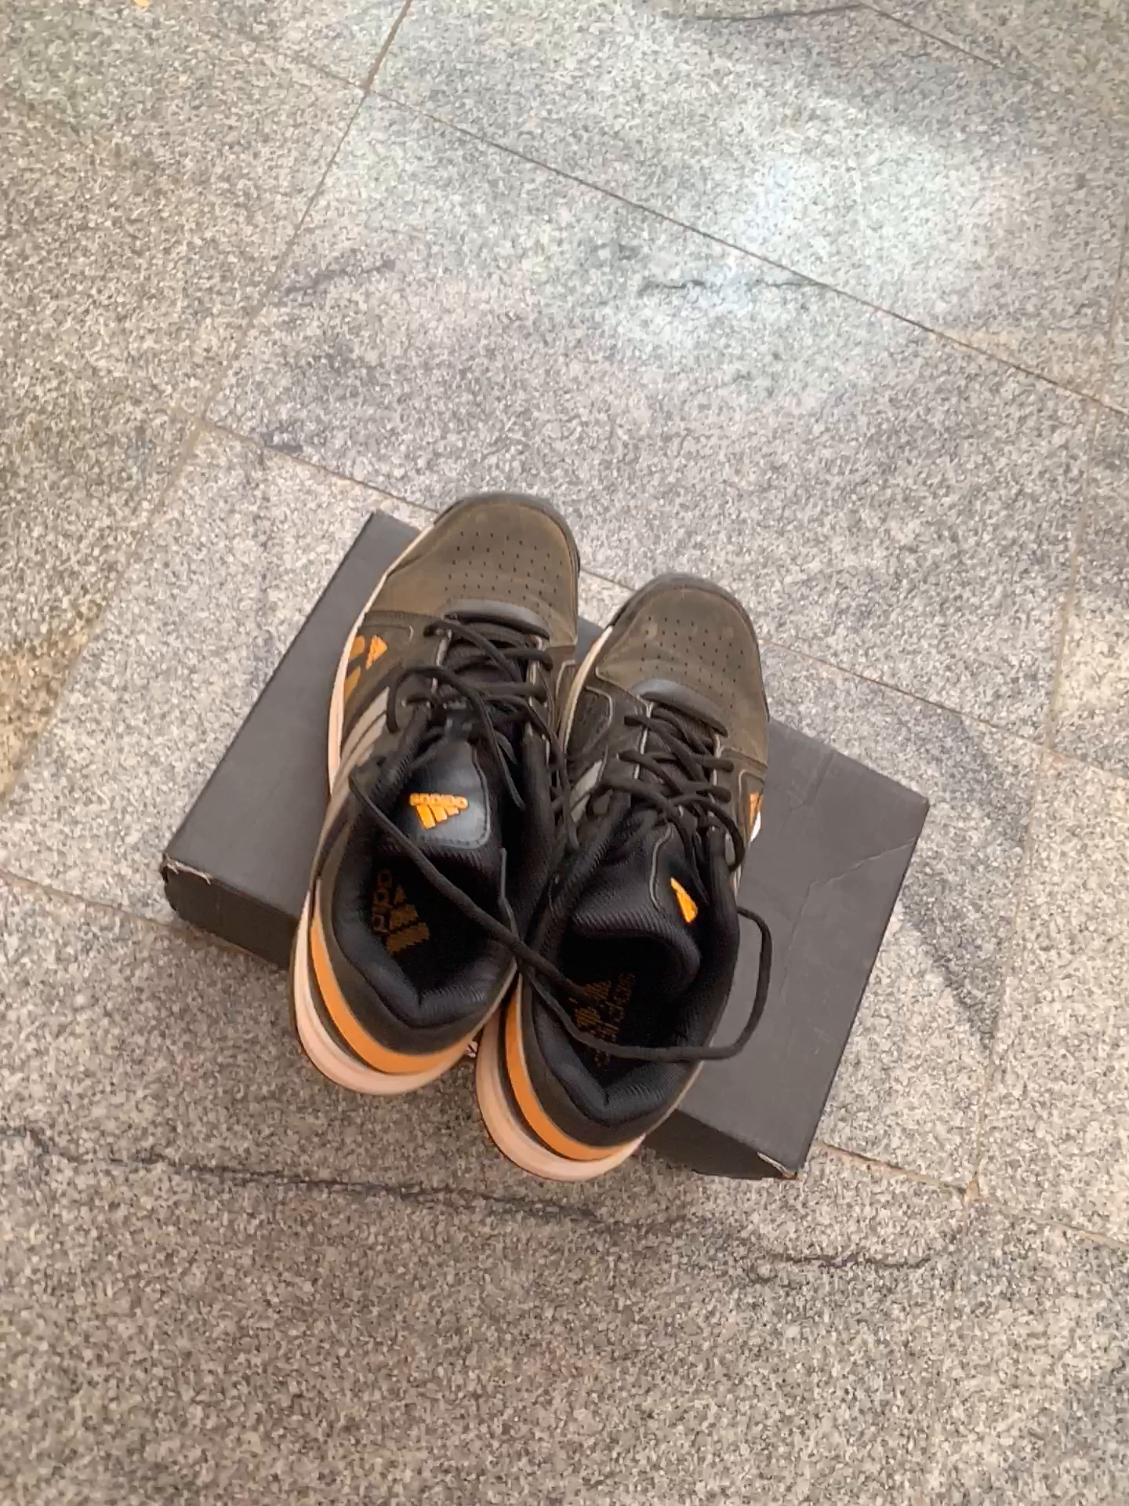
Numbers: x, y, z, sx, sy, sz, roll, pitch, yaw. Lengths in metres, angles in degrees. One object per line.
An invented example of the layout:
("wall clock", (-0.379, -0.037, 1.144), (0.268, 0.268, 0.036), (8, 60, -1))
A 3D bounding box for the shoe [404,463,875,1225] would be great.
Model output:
("shoe", (0.036, 0.034, 0.504), (0.110, 0.090, 0.291), (20, 69, -6))

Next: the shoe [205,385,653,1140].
("shoe", (-0.055, 0.003, 0.516), (0.110, 0.090, 0.301), (18, 69, -15))
